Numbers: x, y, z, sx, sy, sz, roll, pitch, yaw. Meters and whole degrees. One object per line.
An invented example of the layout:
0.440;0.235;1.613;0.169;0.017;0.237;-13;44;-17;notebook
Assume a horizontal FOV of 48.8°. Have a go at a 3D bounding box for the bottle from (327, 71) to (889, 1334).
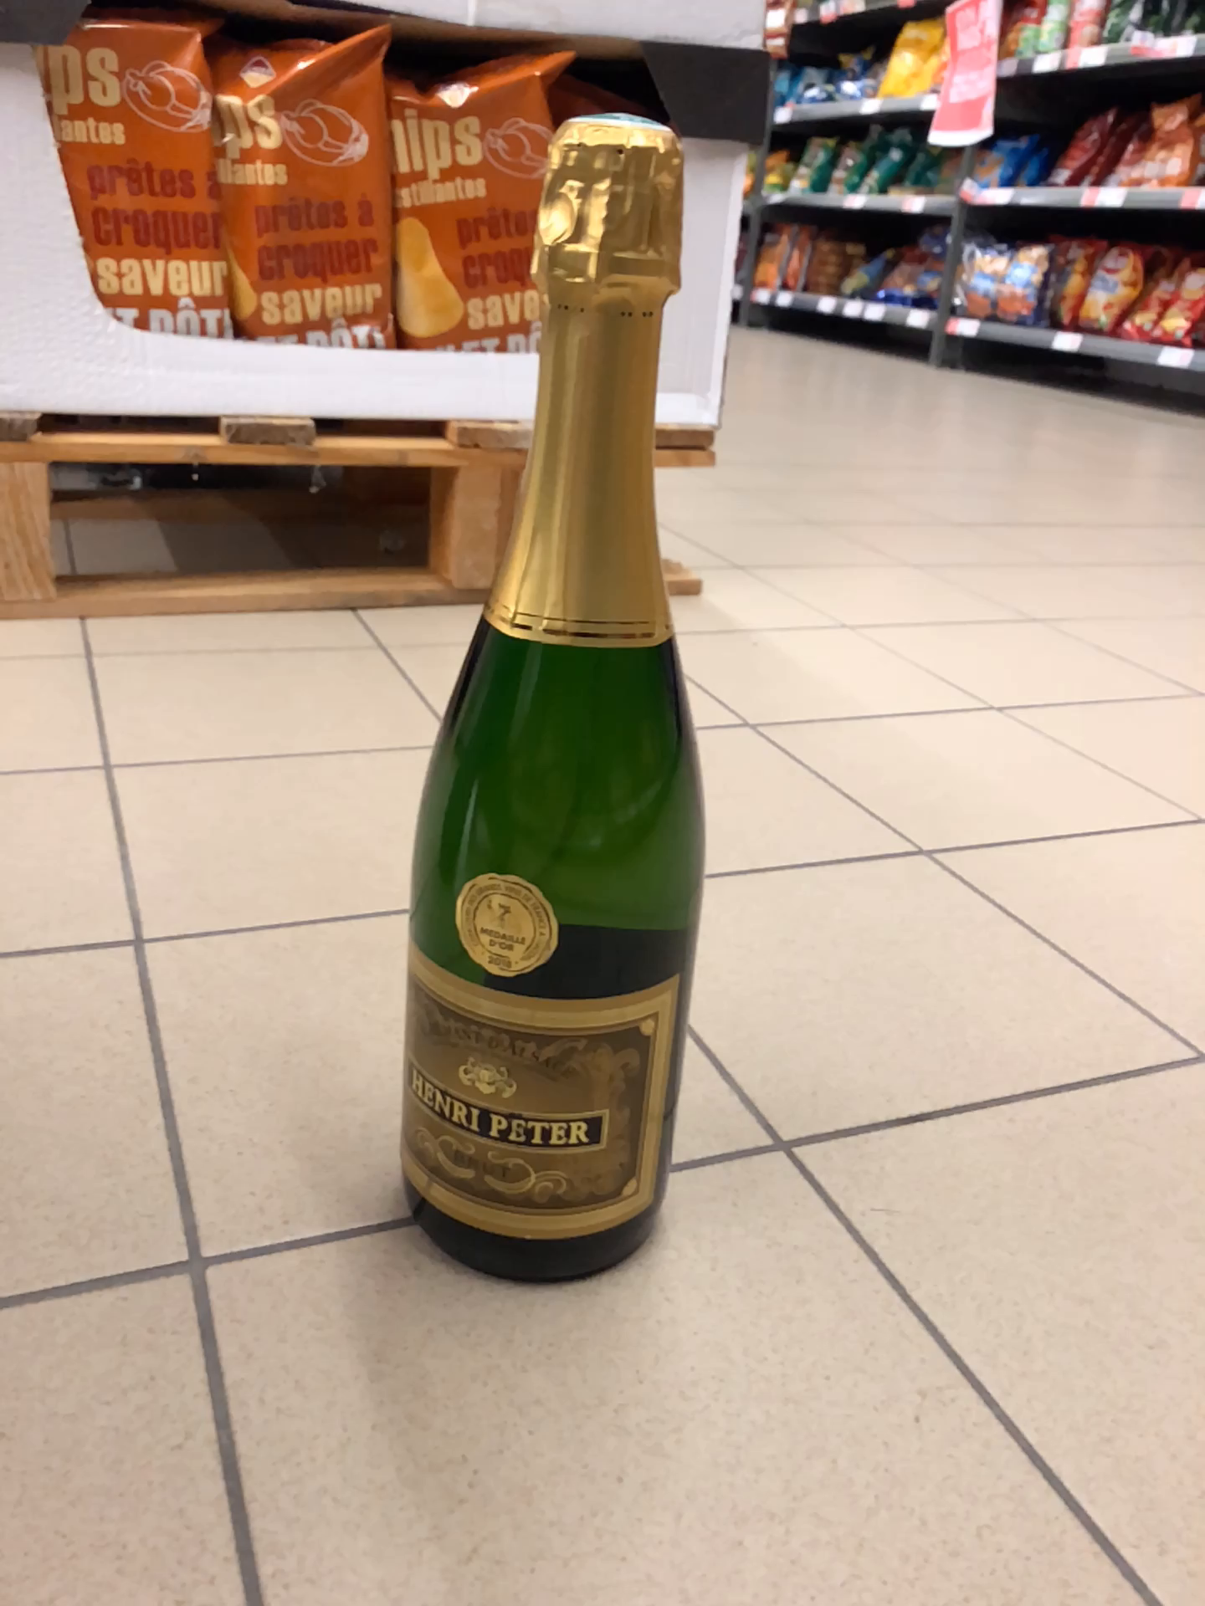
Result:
-0.005;-0.023;0.373;0.100;0.308;0.101;4;22;-2;bottle
